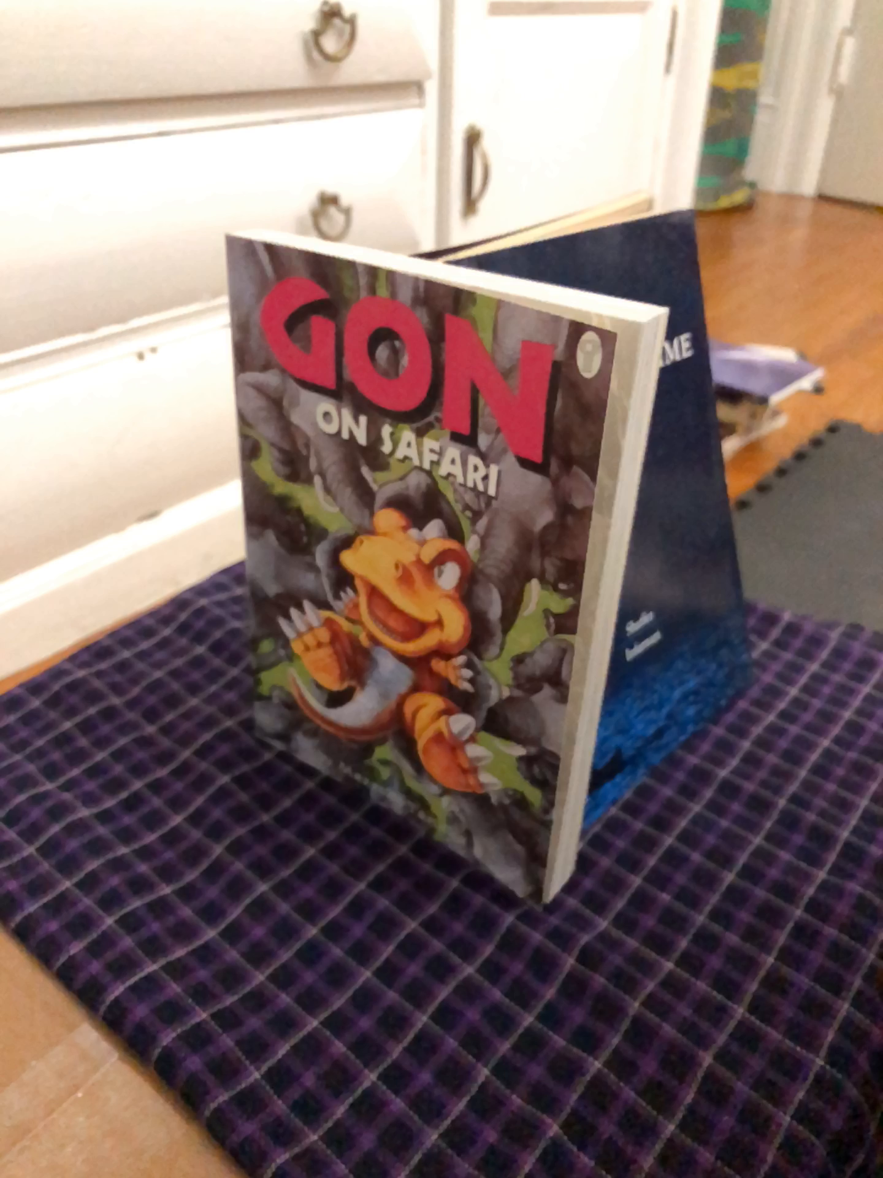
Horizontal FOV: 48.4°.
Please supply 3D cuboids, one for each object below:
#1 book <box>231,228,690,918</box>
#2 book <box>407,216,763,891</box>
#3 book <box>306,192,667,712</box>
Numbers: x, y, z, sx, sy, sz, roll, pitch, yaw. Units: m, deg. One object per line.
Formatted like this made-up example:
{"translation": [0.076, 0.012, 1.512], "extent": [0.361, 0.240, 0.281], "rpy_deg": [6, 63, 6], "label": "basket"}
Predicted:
{"translation": [-0.009, -0.005, 0.314], "extent": [0.140, 0.189, 0.020], "rpy_deg": [21, 30, 29], "label": "book"}
{"translation": [0.065, -0.020, 0.354], "extent": [0.010, 0.199, 0.151], "rpy_deg": [1, 23, 43], "label": "book"}
{"translation": [0.015, -0.051, 0.397], "extent": [0.010, 0.199, 0.141], "rpy_deg": [37, 44, 18], "label": "book"}
